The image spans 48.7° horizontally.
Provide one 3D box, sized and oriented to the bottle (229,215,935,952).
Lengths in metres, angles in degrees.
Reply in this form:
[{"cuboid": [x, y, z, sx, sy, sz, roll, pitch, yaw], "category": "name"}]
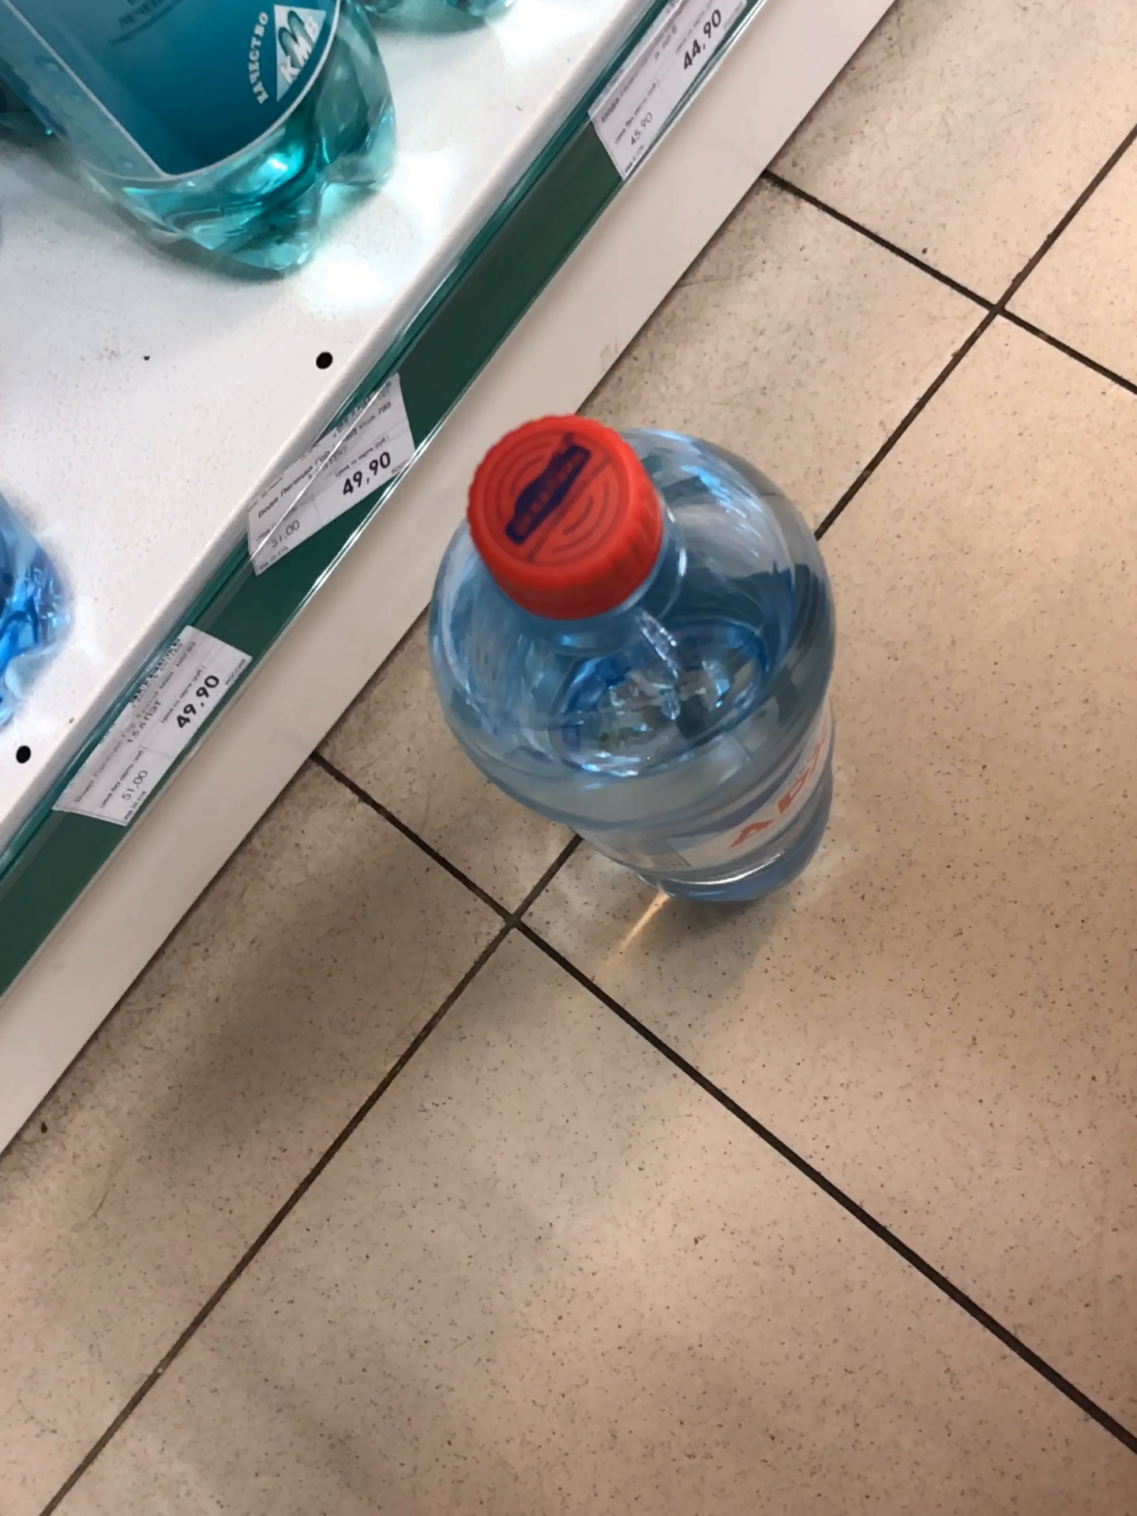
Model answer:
[{"cuboid": [0.031, -0.008, 0.339, 0.085, 0.307, 0.093, -2, 80, 11], "category": "bottle"}]
